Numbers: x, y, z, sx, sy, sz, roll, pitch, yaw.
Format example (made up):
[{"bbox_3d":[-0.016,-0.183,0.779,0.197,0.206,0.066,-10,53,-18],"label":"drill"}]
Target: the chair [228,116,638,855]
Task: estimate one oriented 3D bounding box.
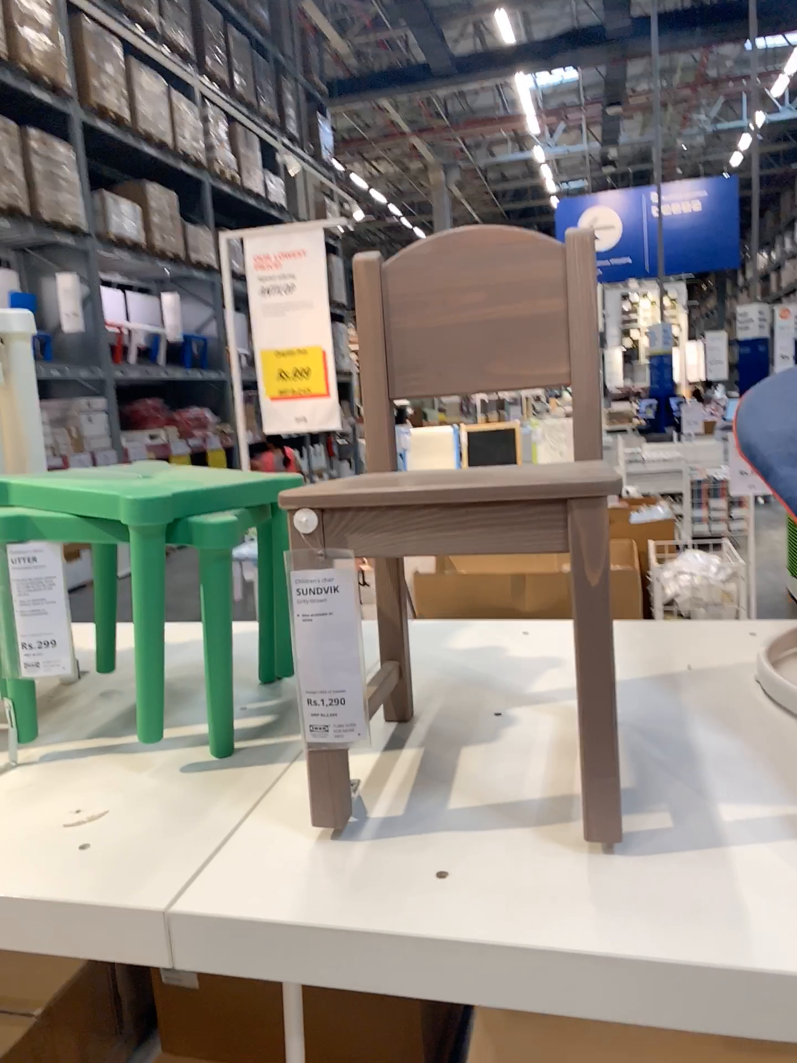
[{"bbox_3d":[0.063,-0.037,0.752,0.270,0.519,0.321,-2,9,14],"label":"chair"}]
